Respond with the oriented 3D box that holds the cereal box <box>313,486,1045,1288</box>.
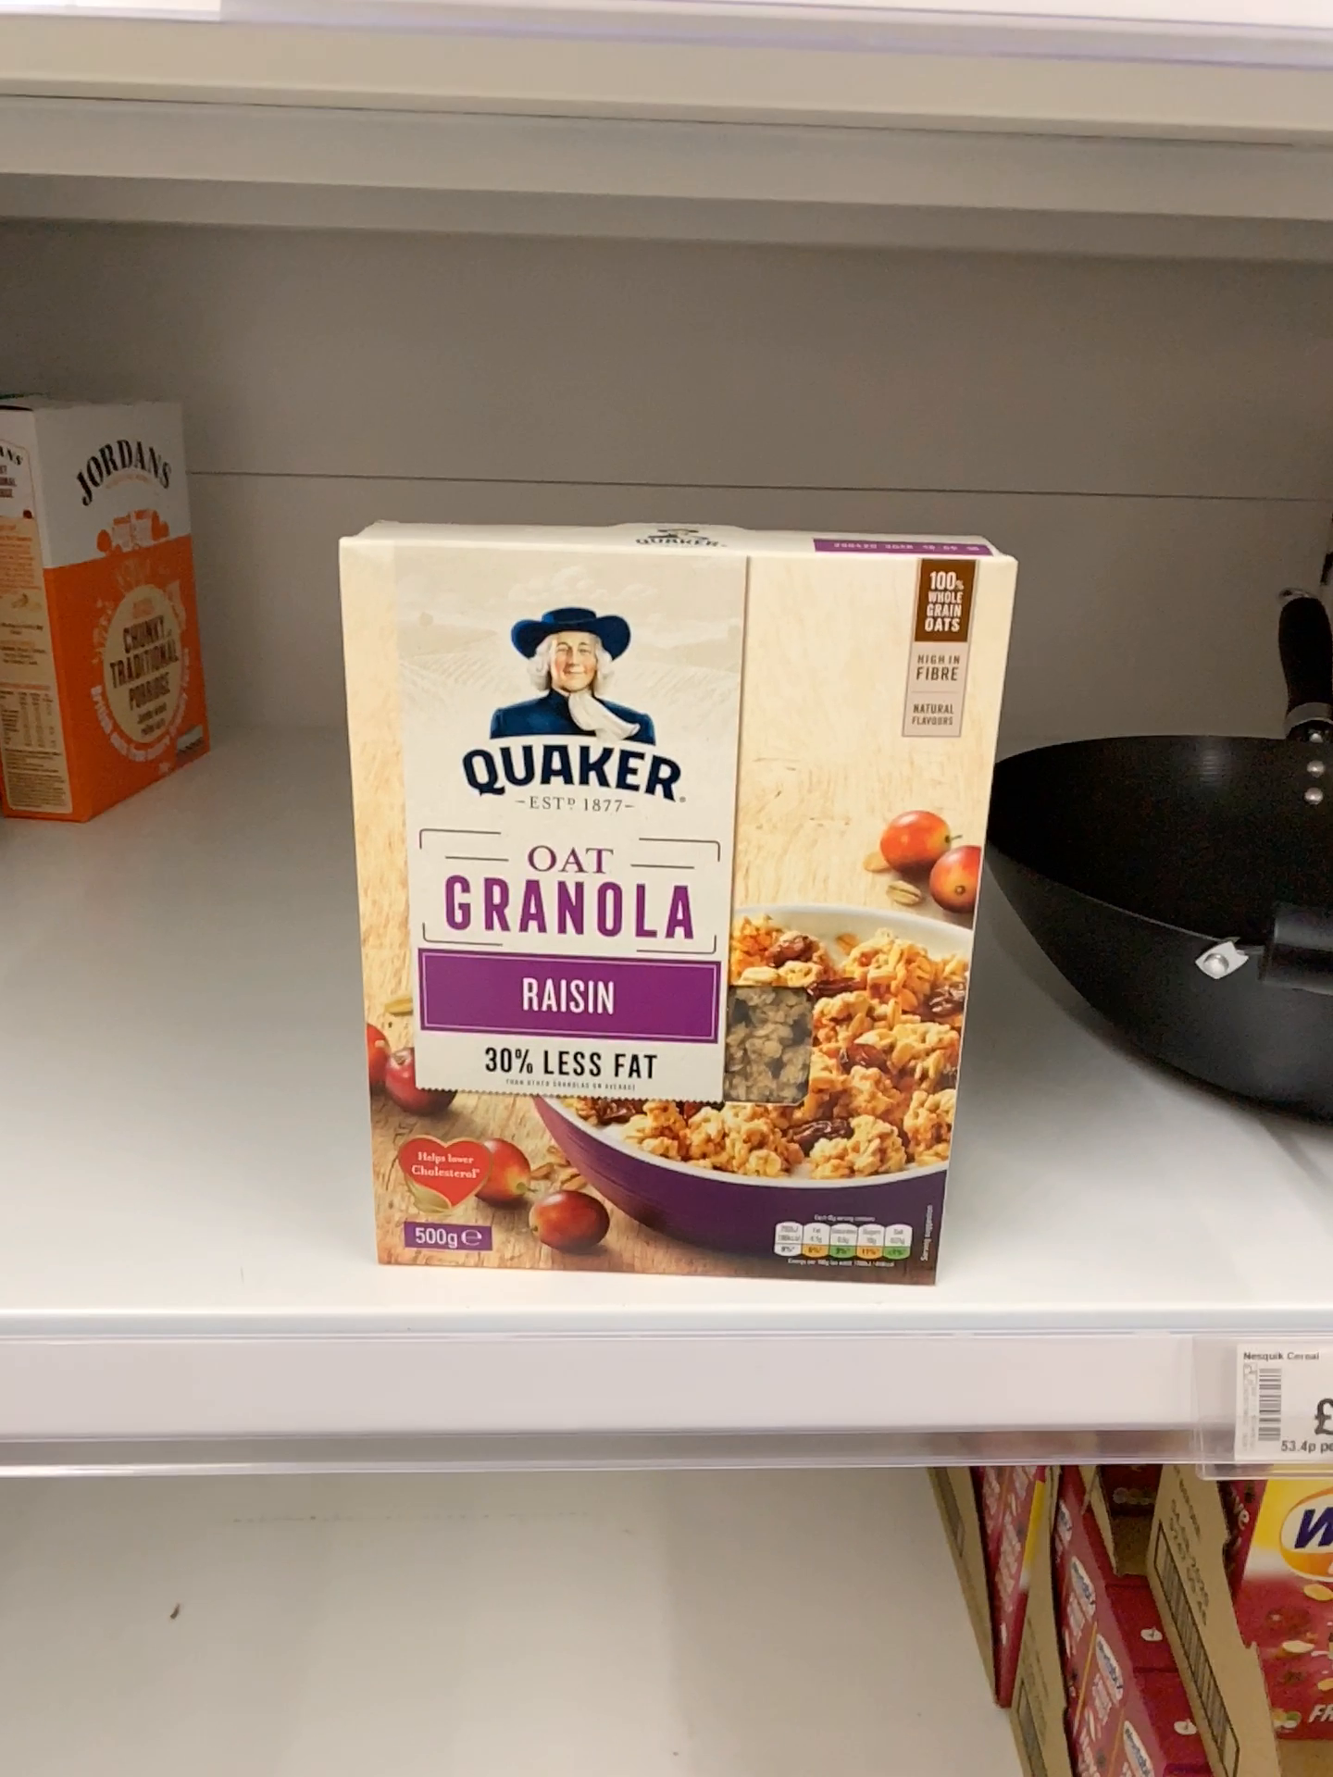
[{"bbox_3d":[0.000,0.004,0.445,0.200,0.248,0.060,2,20,0],"label":"cereal box"}]
